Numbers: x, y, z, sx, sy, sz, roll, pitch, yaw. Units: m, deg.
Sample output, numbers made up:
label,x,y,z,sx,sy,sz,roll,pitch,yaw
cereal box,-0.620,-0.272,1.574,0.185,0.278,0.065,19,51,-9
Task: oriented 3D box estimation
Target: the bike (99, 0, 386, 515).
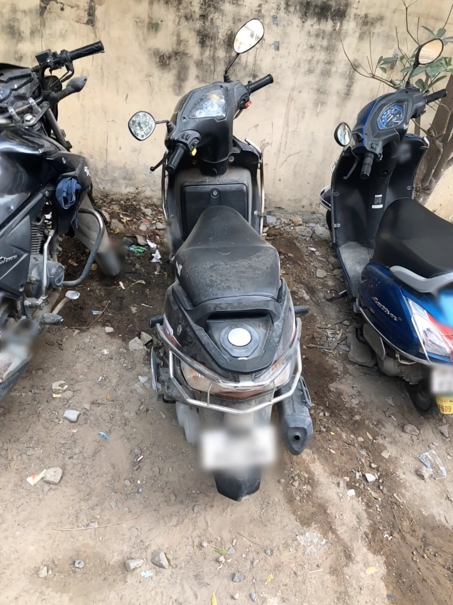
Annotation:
label,x,y,z,sx,sy,sz,roll,pitch,yaw
bike,-0.178,-0.339,1.813,0.528,1.113,1.568,1,36,-15
